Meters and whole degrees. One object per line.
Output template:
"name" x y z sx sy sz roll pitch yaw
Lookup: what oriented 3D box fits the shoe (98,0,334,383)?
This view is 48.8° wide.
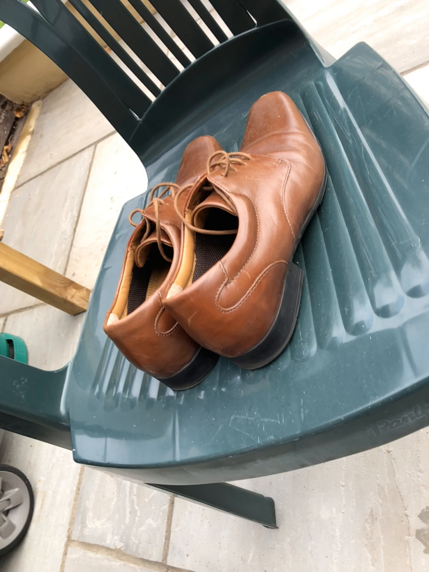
"shoe" 0.011 -0.081 0.369 0.110 0.109 0.281 -17 58 37

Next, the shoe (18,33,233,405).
"shoe" -0.062 -0.058 0.418 0.110 0.109 0.291 -20 56 35
